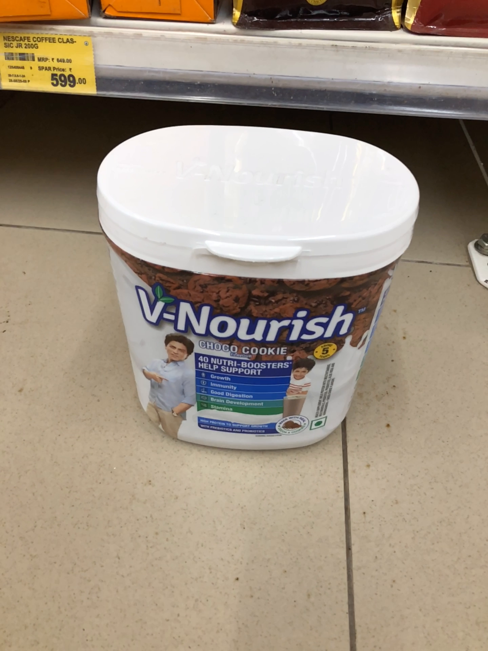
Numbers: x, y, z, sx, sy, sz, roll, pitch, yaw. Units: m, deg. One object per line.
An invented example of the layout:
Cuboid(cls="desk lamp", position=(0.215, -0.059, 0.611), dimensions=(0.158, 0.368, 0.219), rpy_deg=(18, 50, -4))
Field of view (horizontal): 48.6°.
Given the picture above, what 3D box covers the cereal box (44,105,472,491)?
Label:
Cuboid(cls="cereal box", position=(0.005, -0.008, 0.265), dimensions=(0.140, 0.149, 0.101), rpy_deg=(4, 45, 2))
